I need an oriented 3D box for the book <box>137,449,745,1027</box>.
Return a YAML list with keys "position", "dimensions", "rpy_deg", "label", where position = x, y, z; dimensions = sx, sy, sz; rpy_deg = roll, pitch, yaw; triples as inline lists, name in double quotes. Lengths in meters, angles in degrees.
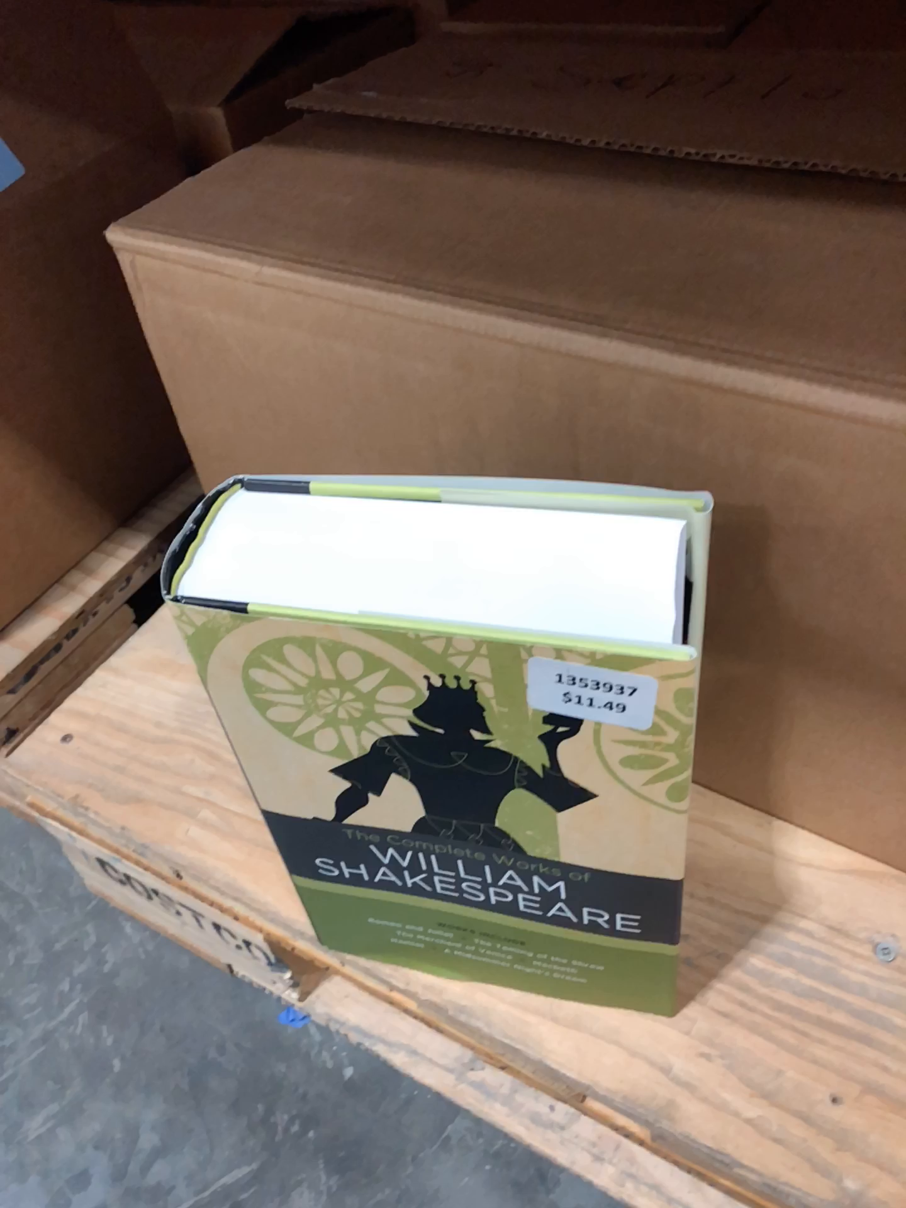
- position: [0.012, 0.064, 0.406]
  dimensions: [0.181, 0.239, 0.080]
  rpy_deg: [6, 47, 16]
  label: "book"
